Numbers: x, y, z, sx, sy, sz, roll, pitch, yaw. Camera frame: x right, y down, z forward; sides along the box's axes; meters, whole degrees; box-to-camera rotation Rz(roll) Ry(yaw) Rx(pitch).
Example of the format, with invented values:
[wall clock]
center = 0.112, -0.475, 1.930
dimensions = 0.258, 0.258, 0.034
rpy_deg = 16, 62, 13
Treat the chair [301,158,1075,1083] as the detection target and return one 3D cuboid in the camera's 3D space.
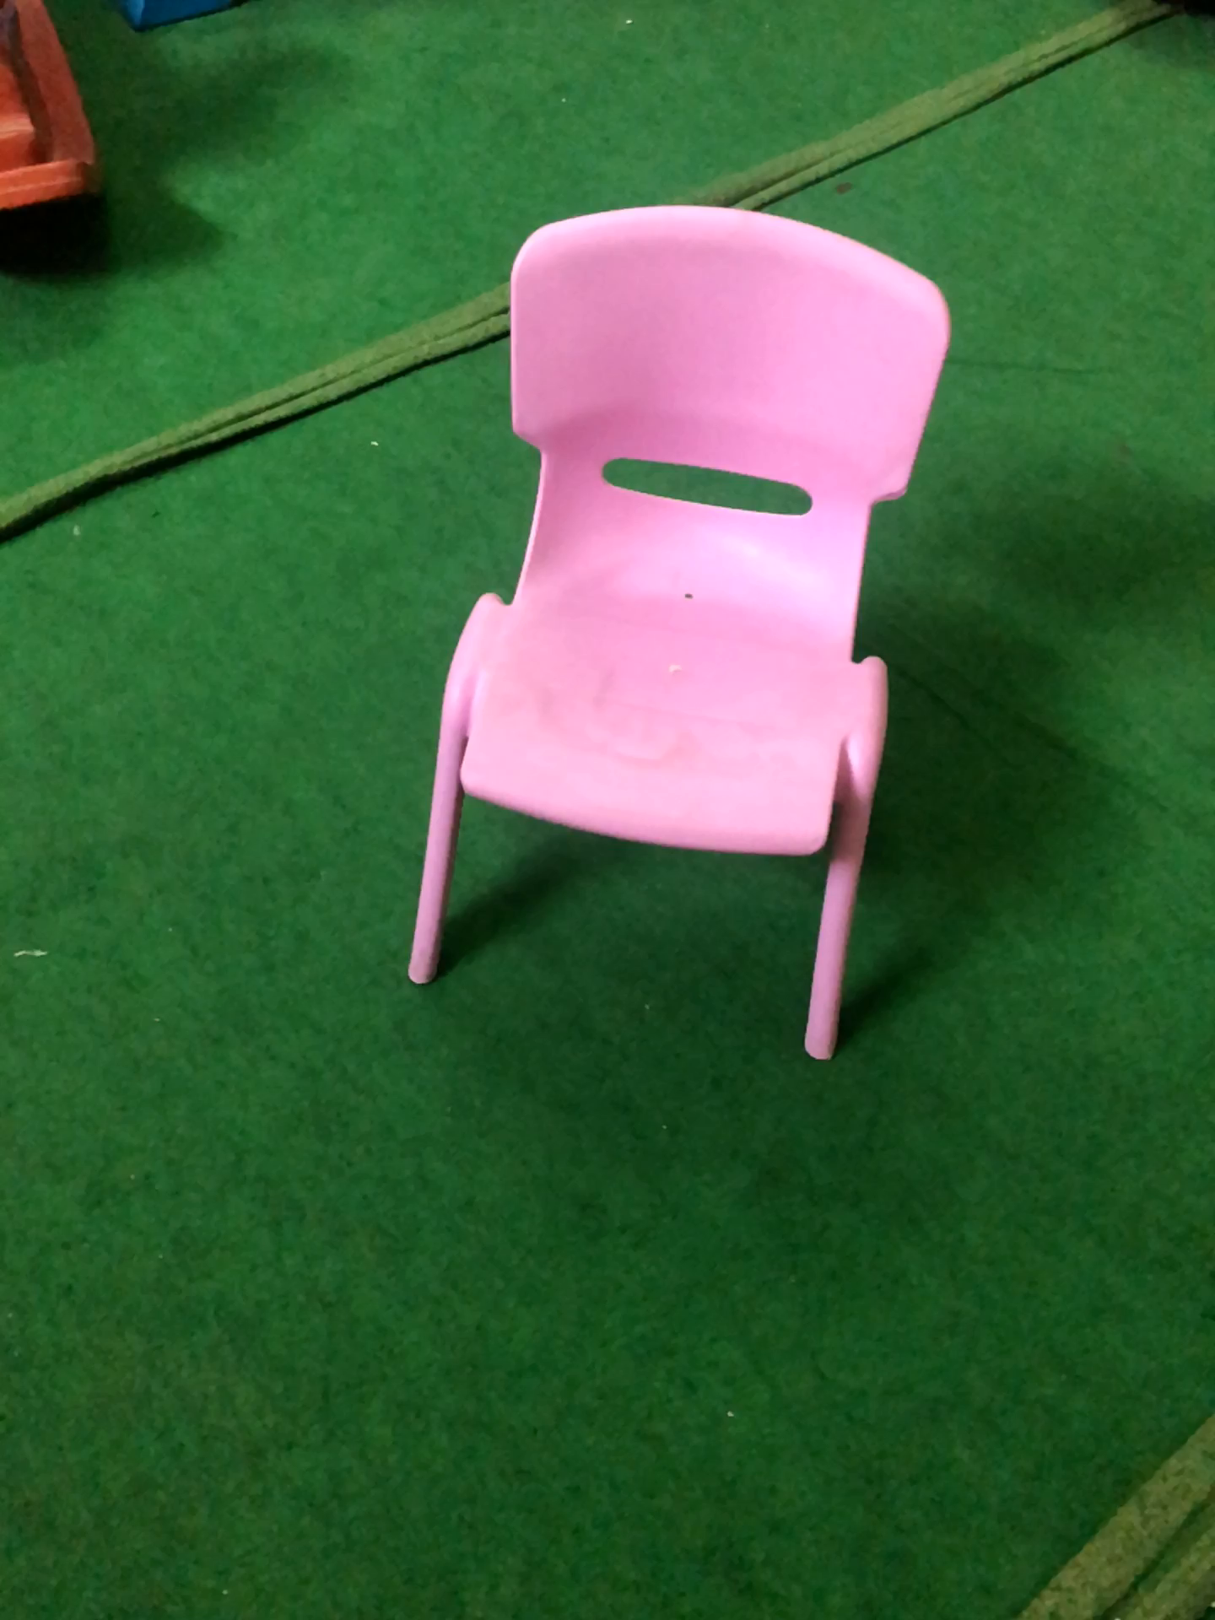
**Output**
[chair]
center = 0.054, -0.115, 0.953
dimensions = 0.380, 0.449, 0.411
rpy_deg = 8, 55, 2
